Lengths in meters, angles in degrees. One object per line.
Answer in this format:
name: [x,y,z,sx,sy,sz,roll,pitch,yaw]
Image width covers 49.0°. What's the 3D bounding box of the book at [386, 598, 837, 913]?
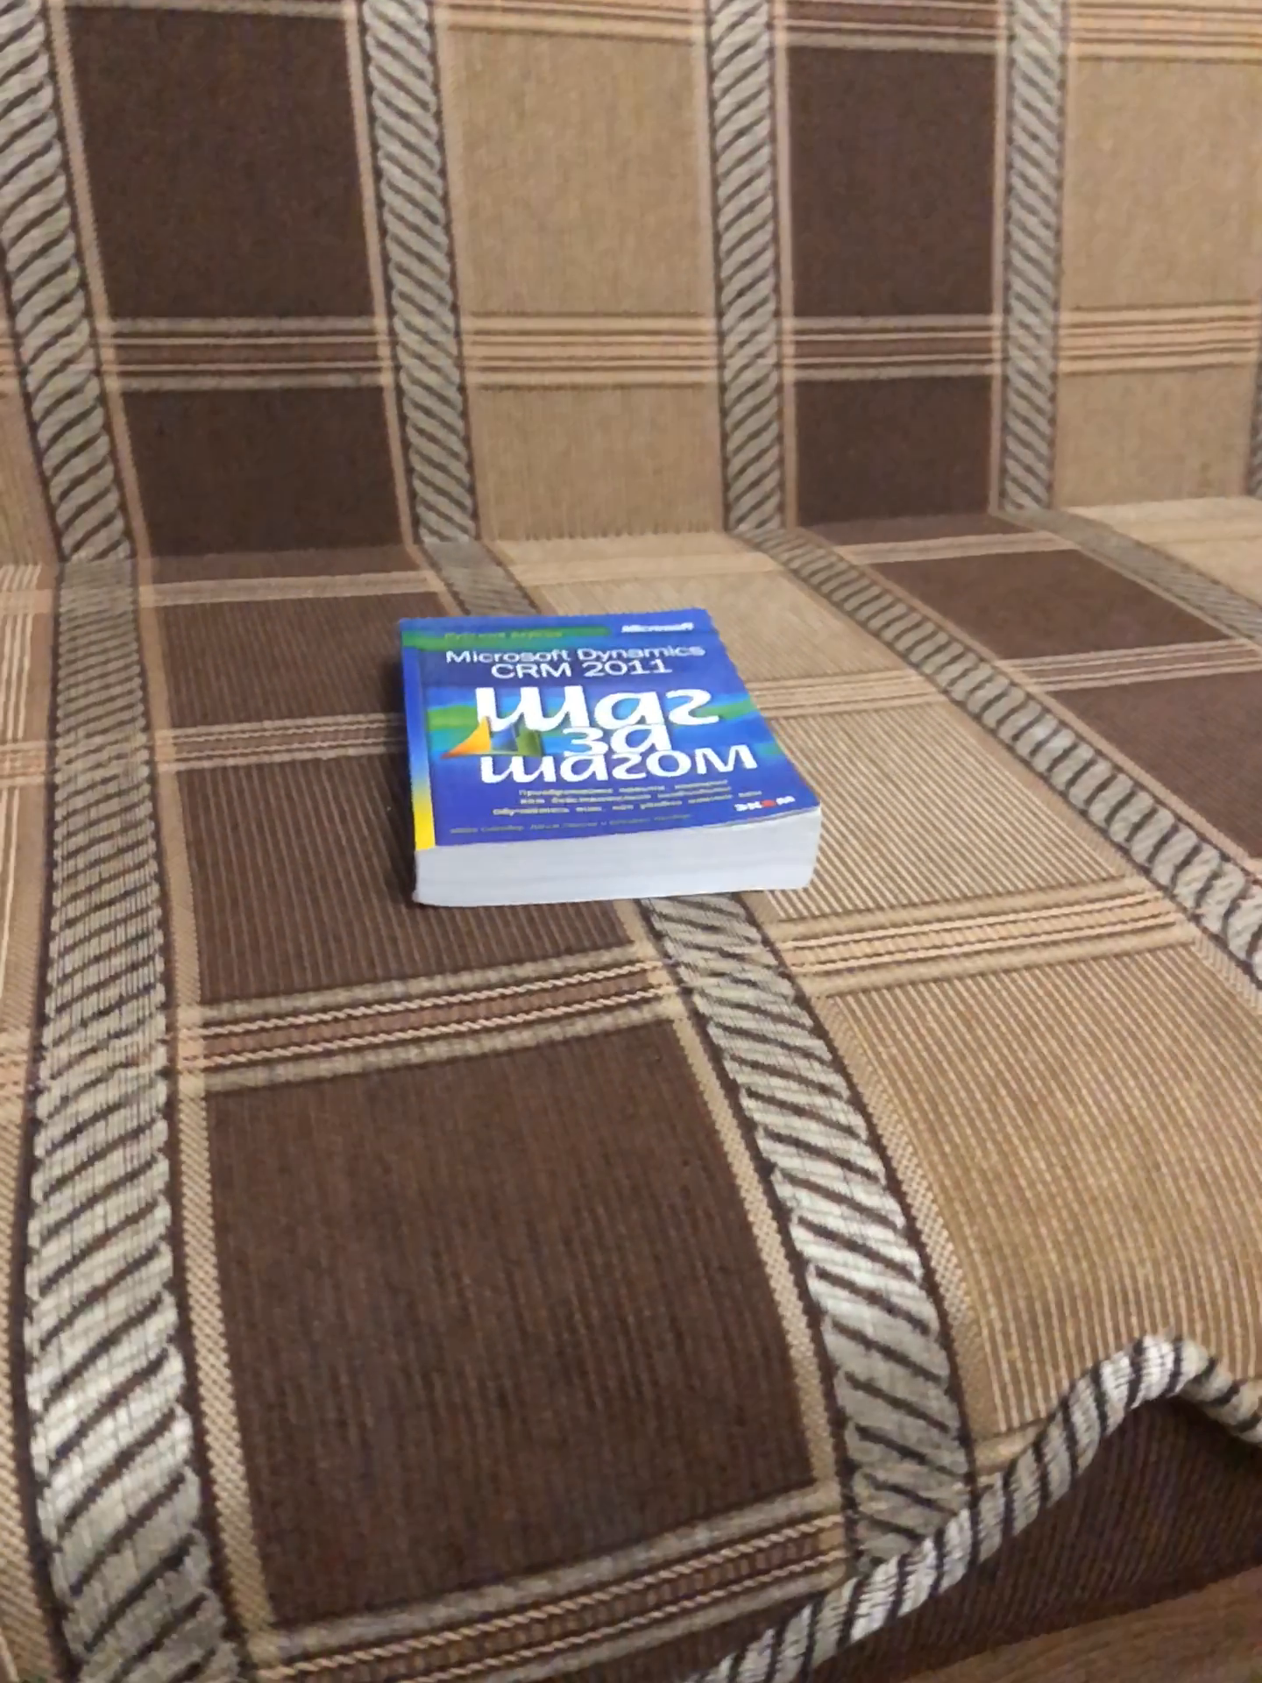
book: [-0.020,-0.045,0.567,0.151,0.030,0.201,-3,32,-10]
